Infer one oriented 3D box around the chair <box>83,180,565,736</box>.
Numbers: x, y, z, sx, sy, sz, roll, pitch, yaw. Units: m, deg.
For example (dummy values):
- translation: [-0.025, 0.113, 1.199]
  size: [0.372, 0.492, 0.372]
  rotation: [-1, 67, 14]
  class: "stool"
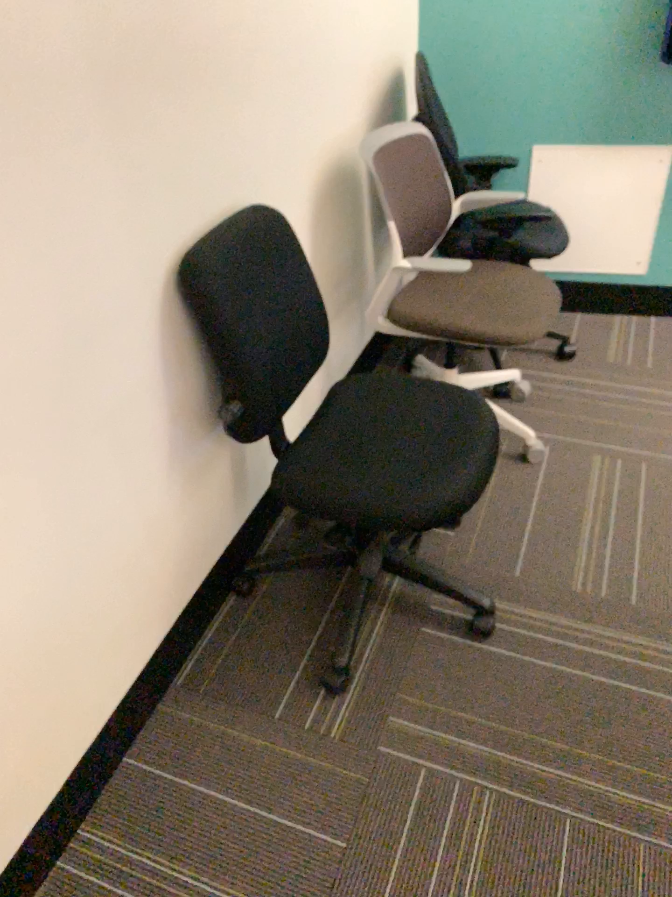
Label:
- translation: [0.051, -0.001, 1.650]
  size: [0.741, 0.994, 0.683]
  rotation: [10, 40, 18]
  class: "chair"
